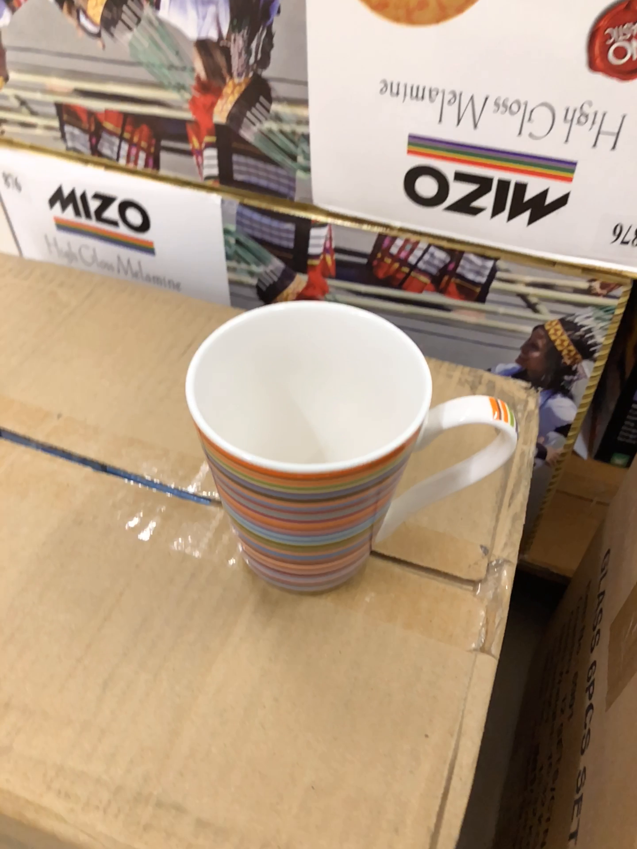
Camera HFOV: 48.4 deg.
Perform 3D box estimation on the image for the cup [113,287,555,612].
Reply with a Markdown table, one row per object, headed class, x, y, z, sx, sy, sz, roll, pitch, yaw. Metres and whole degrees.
| class | x | y | z | sx | sy | sz | roll | pitch | yaw |
| --- | --- | --- | --- | --- | --- | --- | --- | --- | --- |
| cup | 0.005 | 0.010 | 0.268 | 0.130 | 0.089 | 0.081 | 2 | 47 | 1 |
